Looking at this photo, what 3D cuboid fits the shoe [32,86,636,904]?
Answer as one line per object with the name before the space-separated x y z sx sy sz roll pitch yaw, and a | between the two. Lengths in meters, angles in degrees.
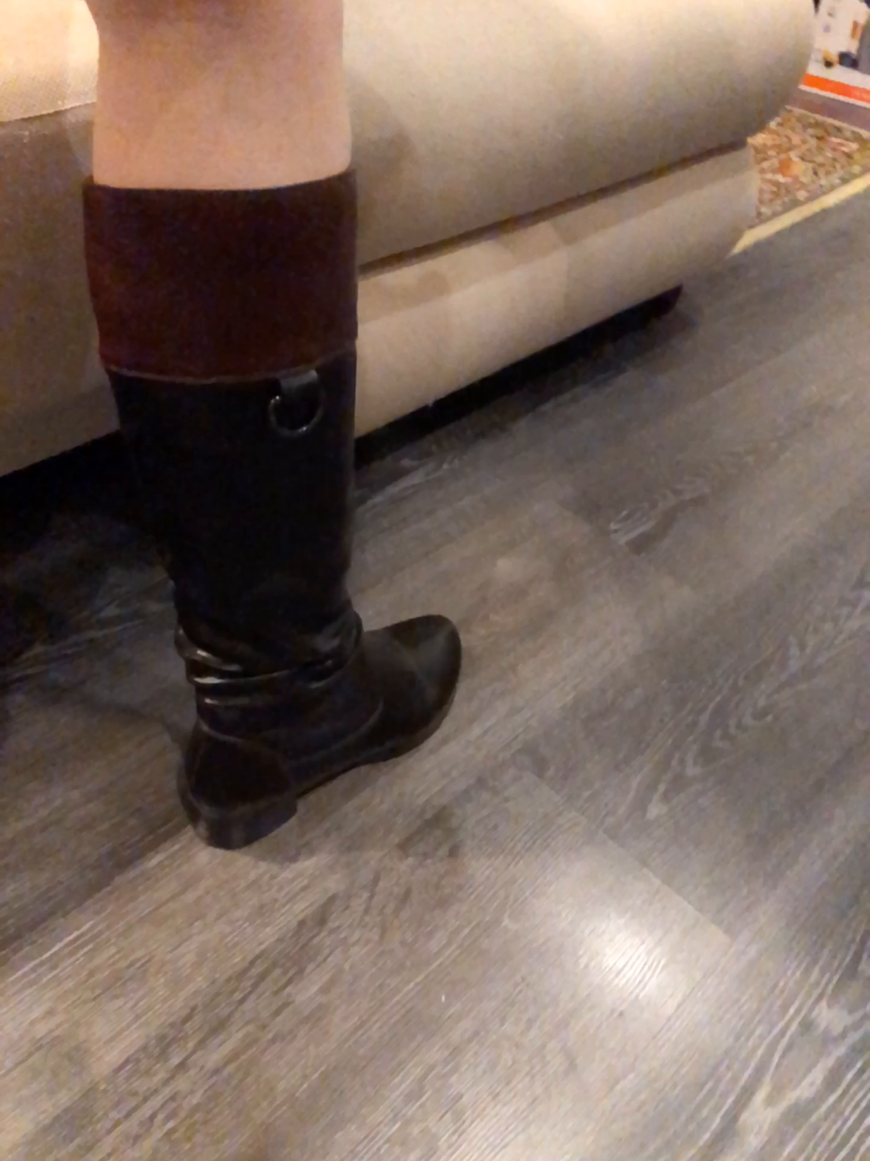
shoe | -0.049 -0.037 0.574 0.110 0.417 0.271 35 49 27
